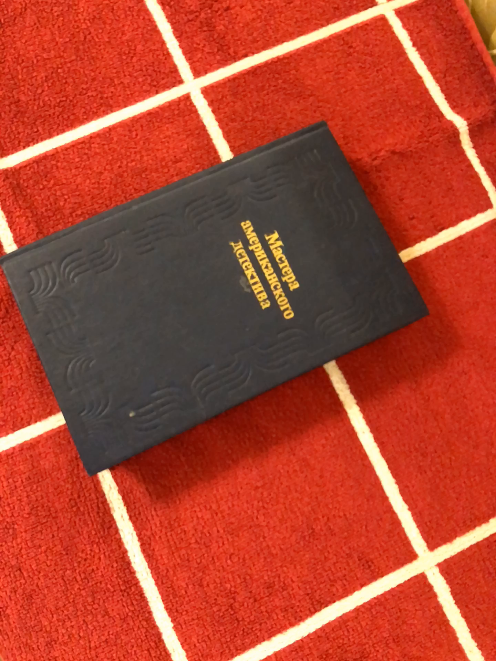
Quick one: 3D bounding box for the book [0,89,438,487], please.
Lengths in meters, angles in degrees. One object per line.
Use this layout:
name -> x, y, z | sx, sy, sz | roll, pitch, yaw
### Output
book -> -0.021, -0.027, 0.300 | 0.193, 0.030, 0.143 | -25, 81, -7
